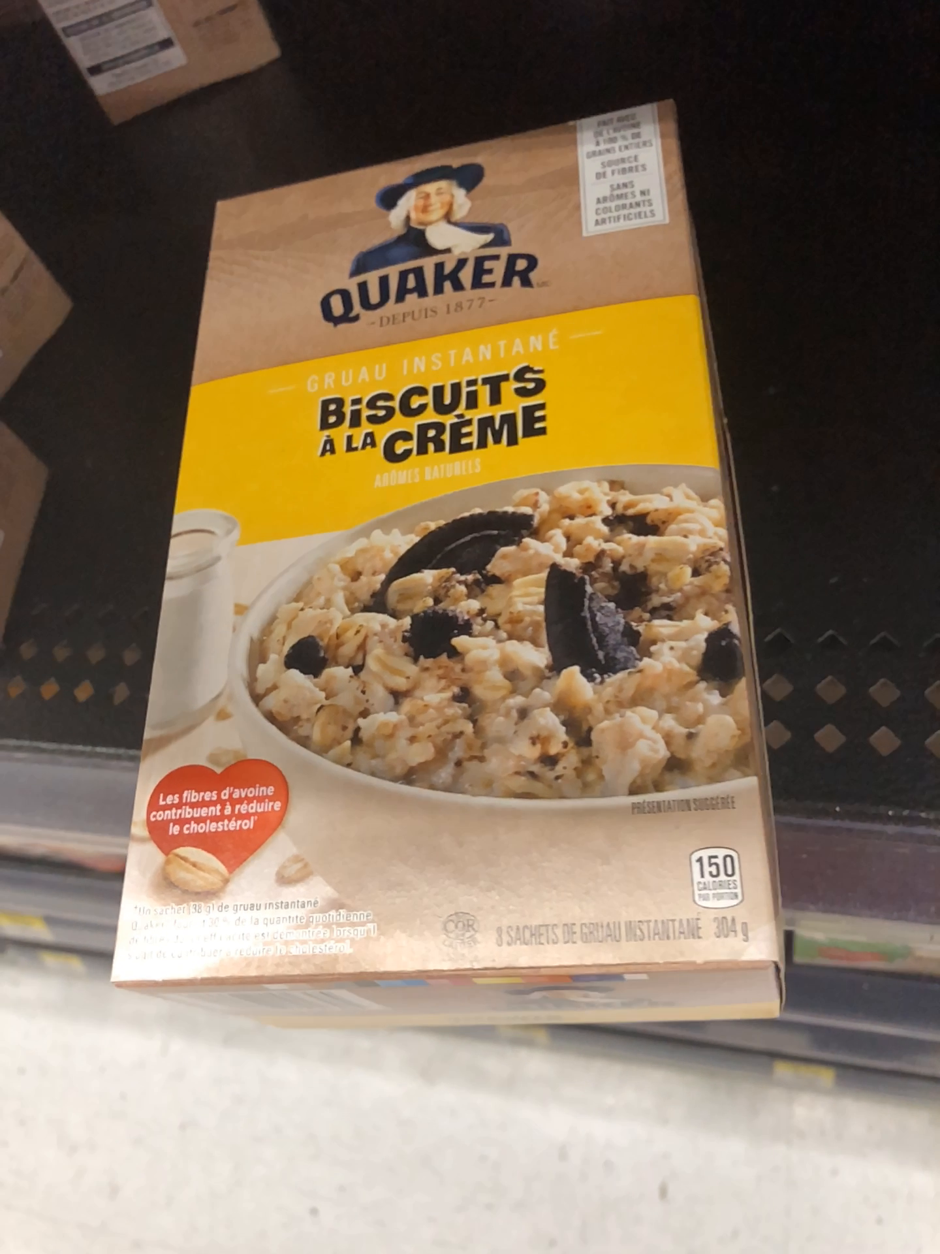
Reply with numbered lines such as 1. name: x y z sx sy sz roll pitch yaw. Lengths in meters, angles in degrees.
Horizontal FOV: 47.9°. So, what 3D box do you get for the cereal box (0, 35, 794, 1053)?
1. cereal box: -0.011 -0.017 0.244 0.140 0.070 0.210 -6 65 14
